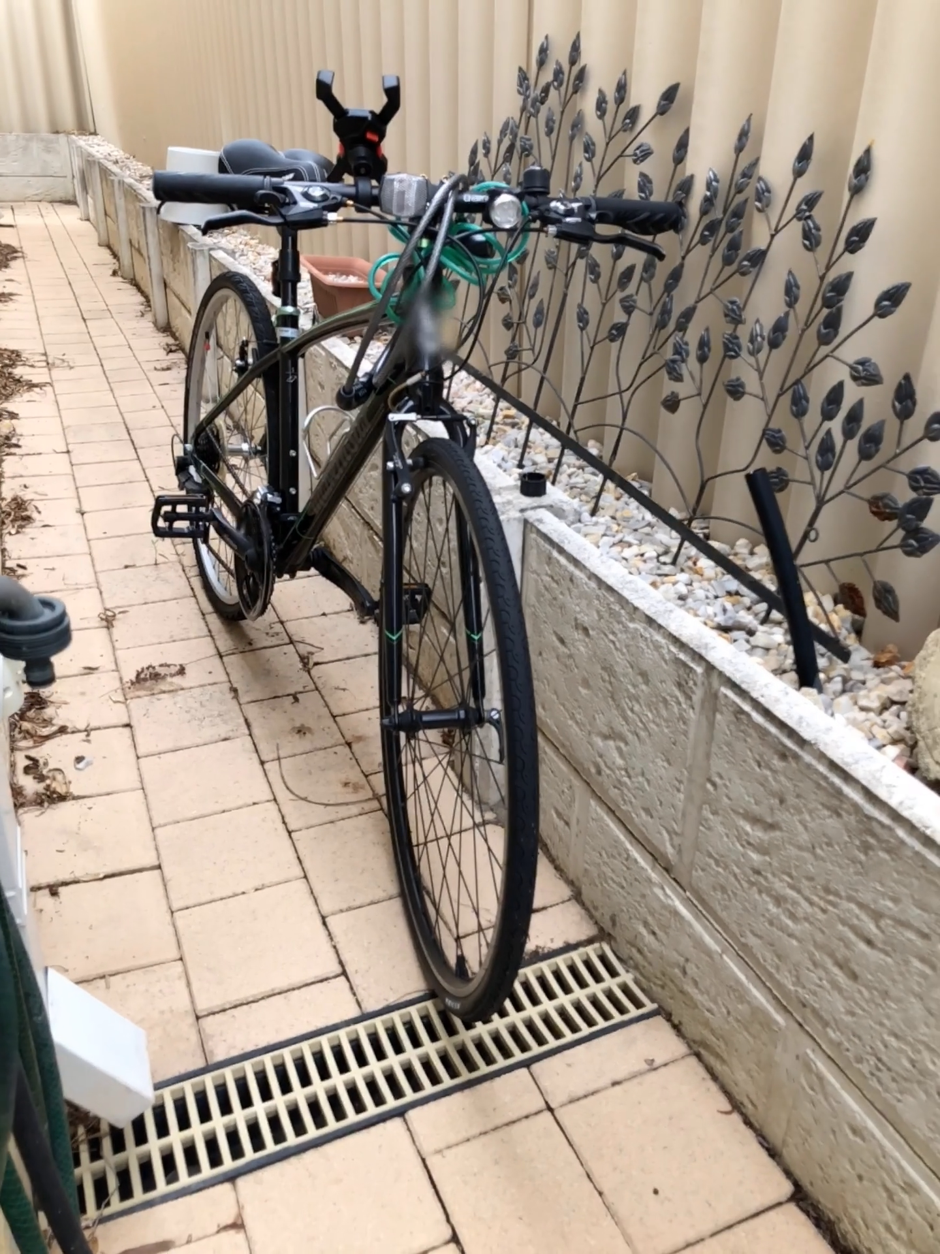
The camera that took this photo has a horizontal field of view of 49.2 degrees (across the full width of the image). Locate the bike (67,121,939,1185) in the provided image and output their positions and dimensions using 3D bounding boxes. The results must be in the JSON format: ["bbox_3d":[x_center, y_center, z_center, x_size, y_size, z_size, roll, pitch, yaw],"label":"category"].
[{"bbox_3d":[-0.166,-0.268,1.595,0.638,0.859,1.705,-9,30,-21],"label":"bike"}]
